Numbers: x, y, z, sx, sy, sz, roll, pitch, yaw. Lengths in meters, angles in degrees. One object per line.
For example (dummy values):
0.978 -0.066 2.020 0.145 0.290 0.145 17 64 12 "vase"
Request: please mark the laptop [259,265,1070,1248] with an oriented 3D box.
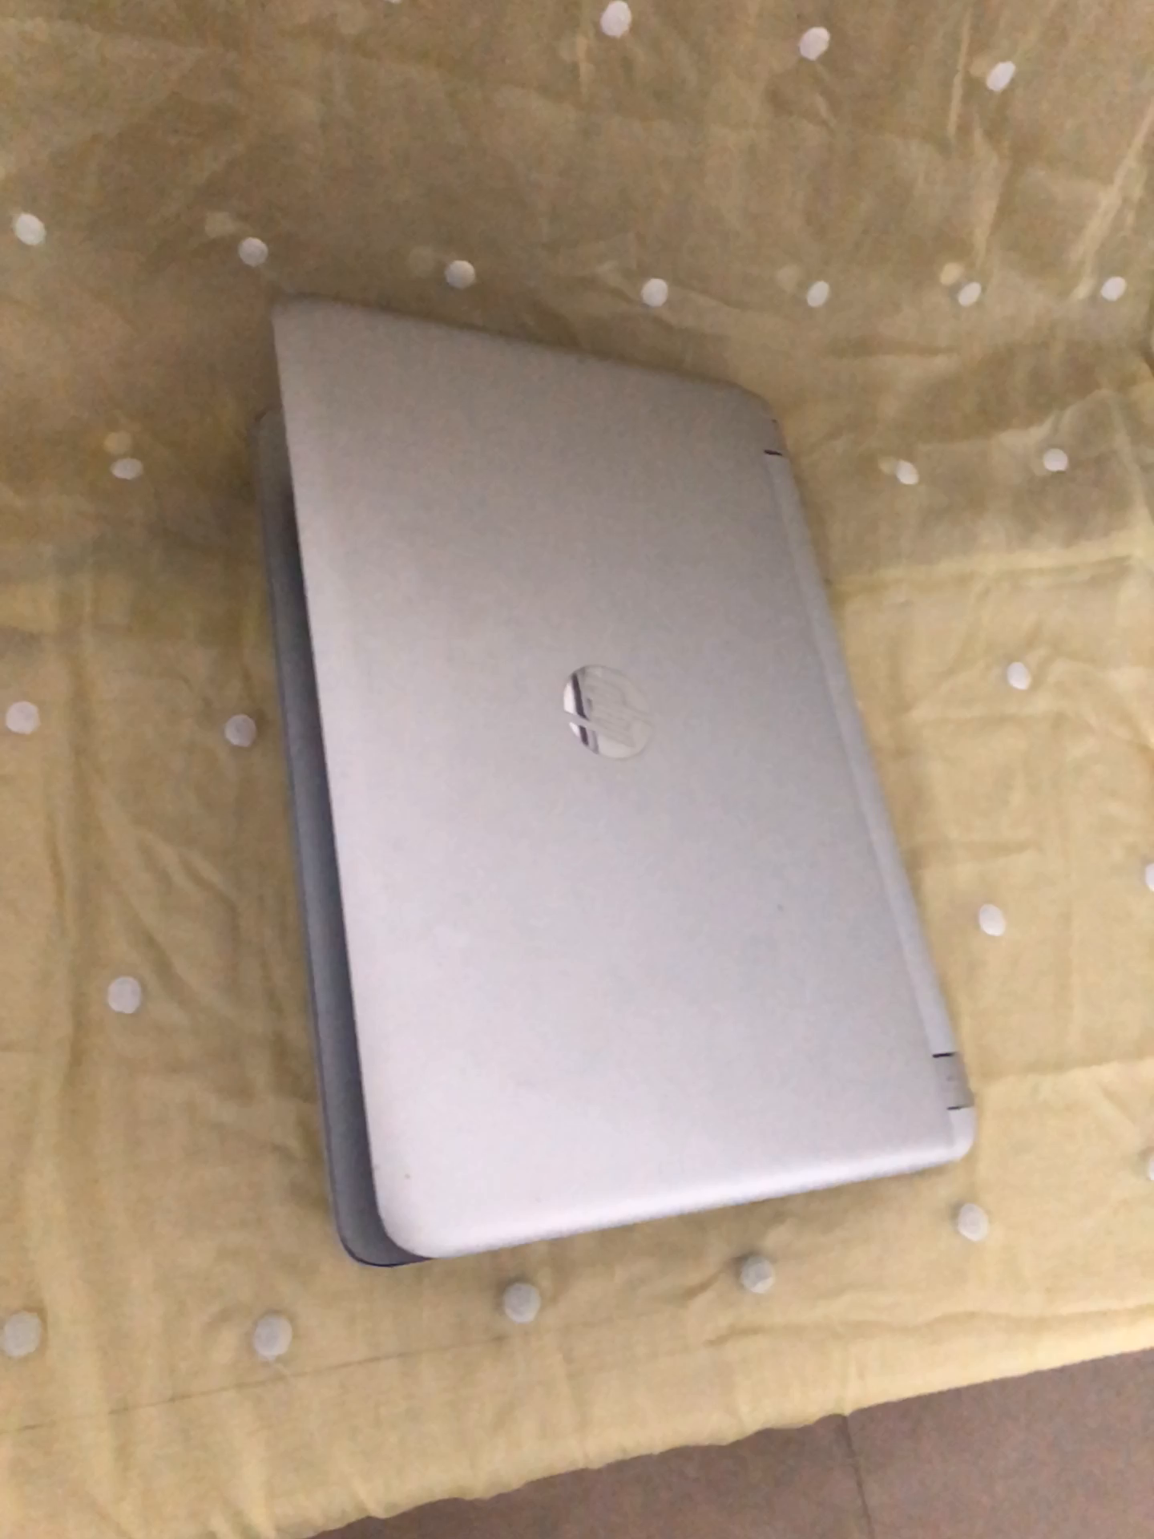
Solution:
0.015 -0.029 0.509 0.243 0.077 0.366 -6 69 -16 "laptop"
